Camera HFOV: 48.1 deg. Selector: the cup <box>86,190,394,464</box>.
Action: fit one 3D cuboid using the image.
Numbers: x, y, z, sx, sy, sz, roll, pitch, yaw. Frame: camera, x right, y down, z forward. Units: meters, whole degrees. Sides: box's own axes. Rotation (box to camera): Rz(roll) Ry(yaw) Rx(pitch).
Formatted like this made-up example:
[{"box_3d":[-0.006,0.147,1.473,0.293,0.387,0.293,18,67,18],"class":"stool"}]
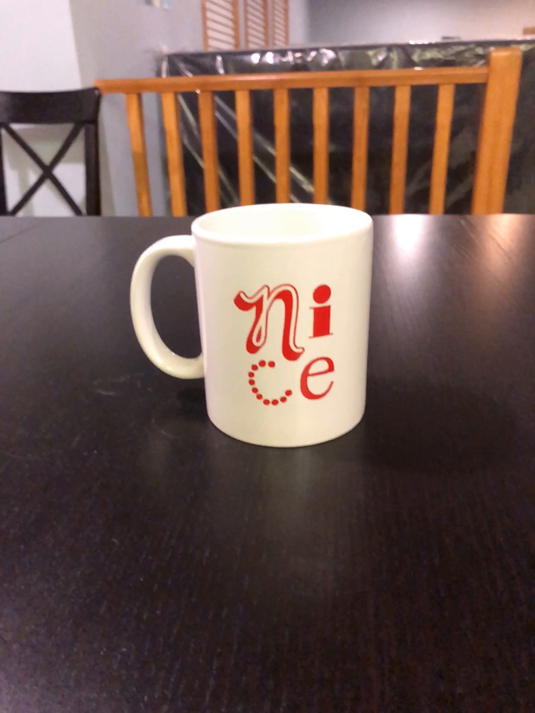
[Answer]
[{"box_3d":[-0.003,-0.023,0.294,0.120,0.100,0.100,3,24,12],"class":"cup"}]
